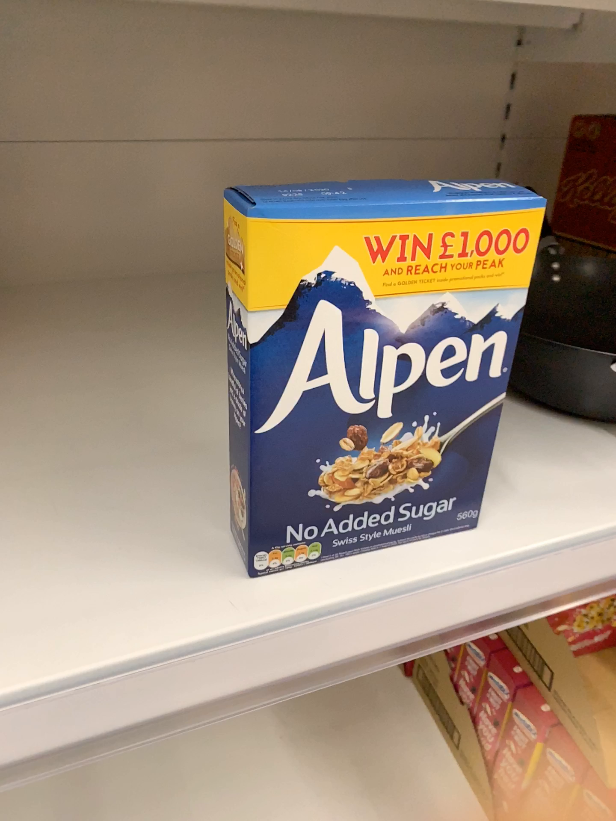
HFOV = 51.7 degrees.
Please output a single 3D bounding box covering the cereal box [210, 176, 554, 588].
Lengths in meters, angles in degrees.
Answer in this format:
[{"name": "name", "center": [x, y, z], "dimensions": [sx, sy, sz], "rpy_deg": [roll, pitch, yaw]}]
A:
[{"name": "cereal box", "center": [0.037, -0.018, 0.405], "dimensions": [0.180, 0.238, 0.060], "rpy_deg": [-8, 29, -18]}]
